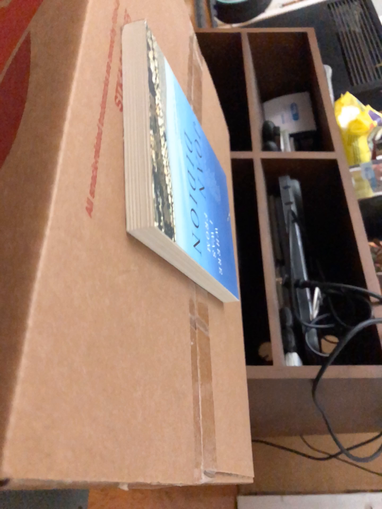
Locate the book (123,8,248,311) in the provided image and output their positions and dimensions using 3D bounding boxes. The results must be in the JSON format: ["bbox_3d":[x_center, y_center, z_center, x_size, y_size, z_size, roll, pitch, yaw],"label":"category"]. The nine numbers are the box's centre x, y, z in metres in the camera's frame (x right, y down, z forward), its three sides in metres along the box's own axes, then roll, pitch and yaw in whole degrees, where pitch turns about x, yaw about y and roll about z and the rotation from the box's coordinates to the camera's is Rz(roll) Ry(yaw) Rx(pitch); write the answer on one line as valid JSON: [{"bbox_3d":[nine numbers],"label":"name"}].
[{"bbox_3d":[0.006,-0.044,0.320,0.211,0.020,0.140,43,40,-66],"label":"book"}]
